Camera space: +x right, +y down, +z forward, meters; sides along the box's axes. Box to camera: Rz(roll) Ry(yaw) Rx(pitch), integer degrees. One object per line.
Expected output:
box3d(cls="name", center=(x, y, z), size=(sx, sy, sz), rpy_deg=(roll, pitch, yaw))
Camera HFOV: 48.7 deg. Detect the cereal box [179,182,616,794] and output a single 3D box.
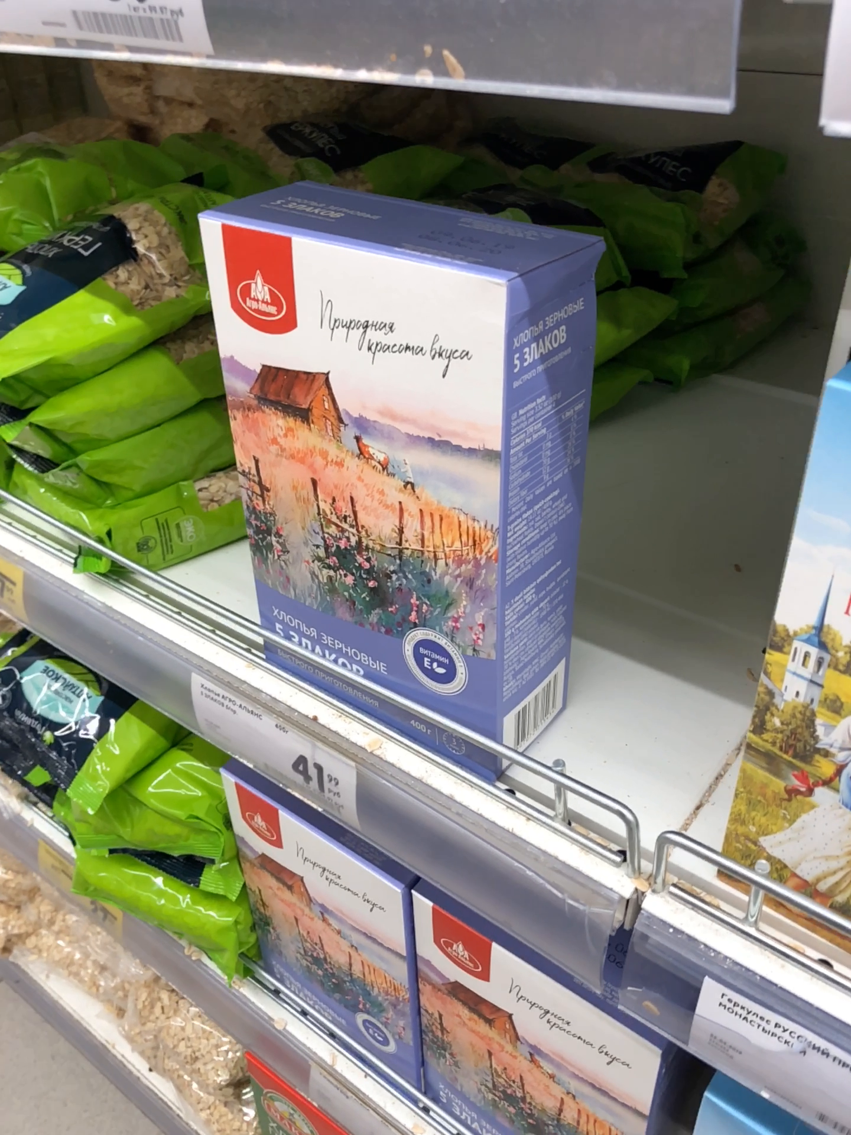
box3d(cls="cereal box", center=(-0.011, -0.032, 0.367), size=(0.140, 0.199, 0.060), rpy_deg=(23, 41, 32))
